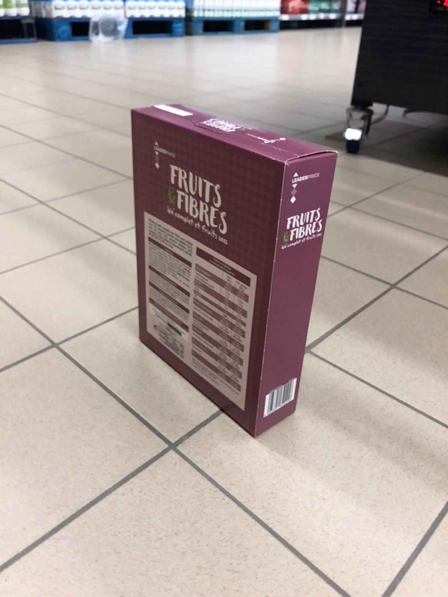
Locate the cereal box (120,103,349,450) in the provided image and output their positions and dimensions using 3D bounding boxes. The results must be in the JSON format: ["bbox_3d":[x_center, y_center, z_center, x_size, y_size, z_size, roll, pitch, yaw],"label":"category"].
[{"bbox_3d":[-0.007,-0.027,0.465,0.060,0.258,0.210,-22,38,-36],"label":"cereal box"}]
